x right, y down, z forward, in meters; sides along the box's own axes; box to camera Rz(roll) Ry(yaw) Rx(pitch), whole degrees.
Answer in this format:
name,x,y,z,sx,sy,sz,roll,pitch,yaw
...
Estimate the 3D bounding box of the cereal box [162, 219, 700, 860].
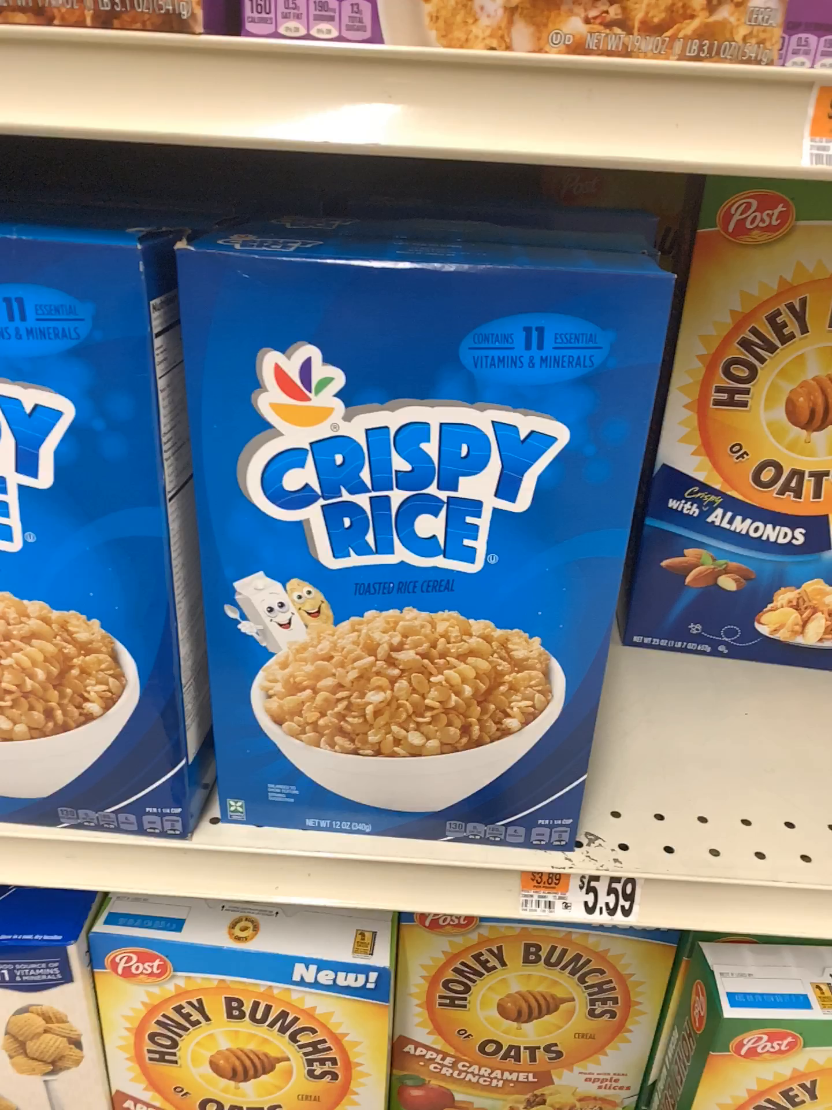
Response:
name,x,y,z,sx,sy,sz,roll,pitch,yaw
cereal box,-0.001,0.008,0.437,0.210,0.318,0.070,4,28,1
